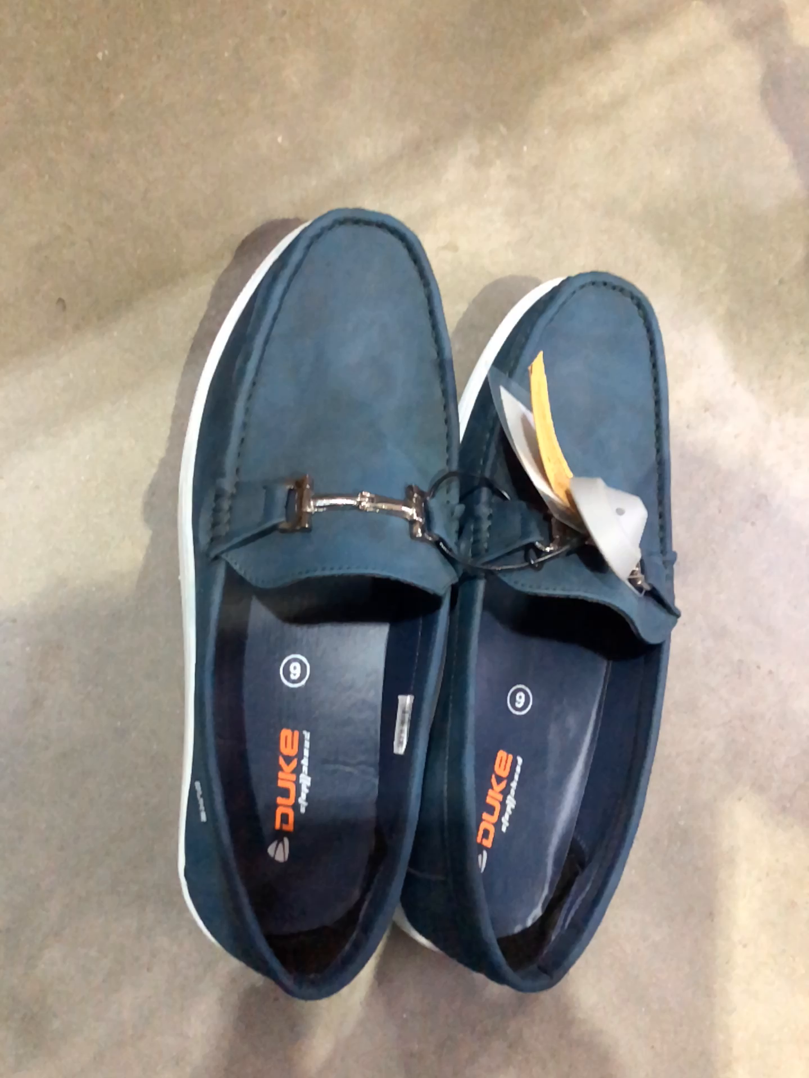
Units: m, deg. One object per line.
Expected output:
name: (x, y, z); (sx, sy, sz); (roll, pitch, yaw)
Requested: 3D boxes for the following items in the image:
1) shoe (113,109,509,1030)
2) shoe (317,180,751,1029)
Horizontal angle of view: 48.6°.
shoe: (-0.038, 0.011, 0.354); (0.110, 0.080, 0.310); (7, 83, -18)
shoe: (0.055, 0.026, 0.382); (0.110, 0.080, 0.310); (13, 82, -17)
